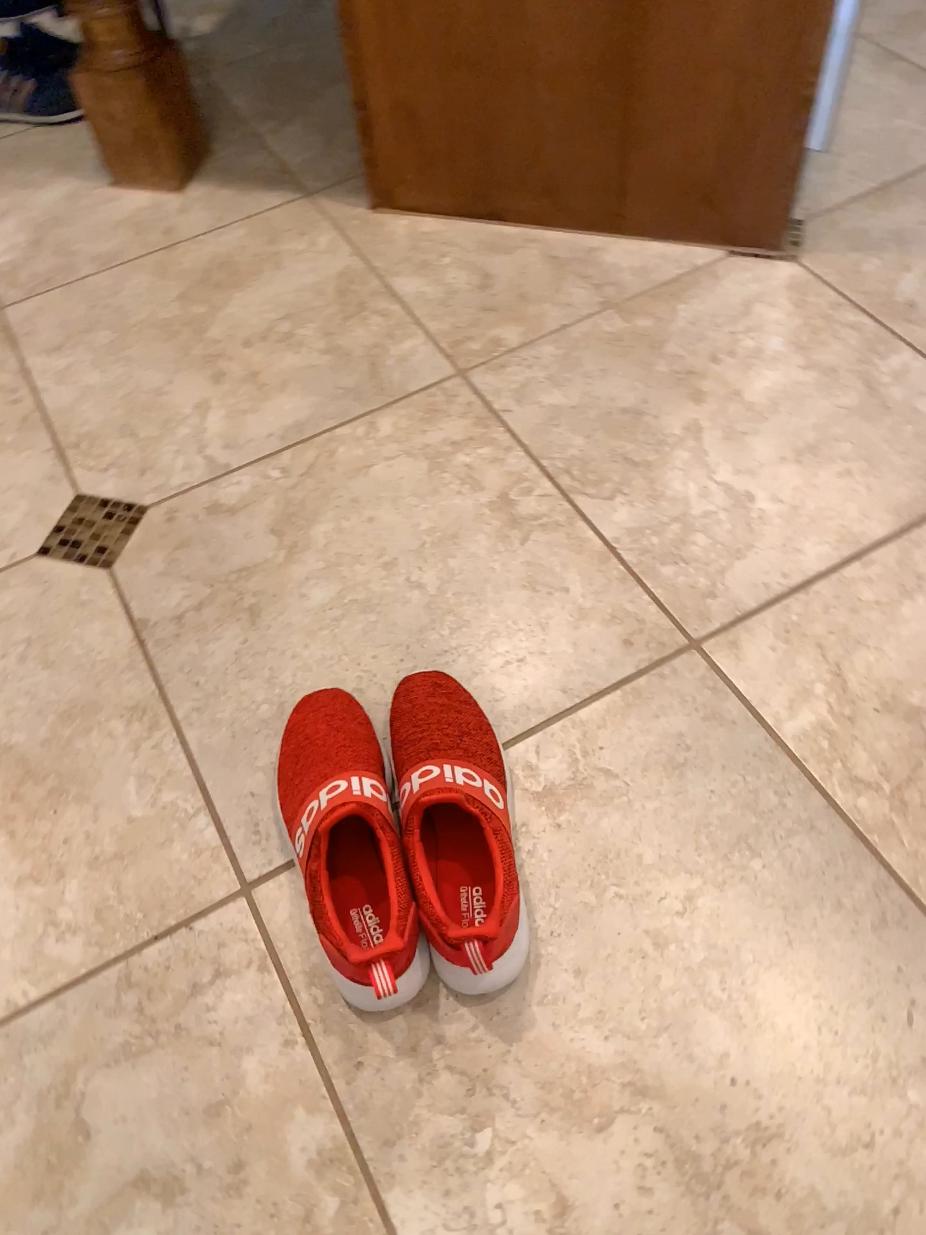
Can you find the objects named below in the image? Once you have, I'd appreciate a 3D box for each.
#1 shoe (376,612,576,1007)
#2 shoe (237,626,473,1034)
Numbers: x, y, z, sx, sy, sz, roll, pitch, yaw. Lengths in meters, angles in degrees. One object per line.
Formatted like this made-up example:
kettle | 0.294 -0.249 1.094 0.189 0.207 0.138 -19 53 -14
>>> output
shoe | 0.005 0.159 0.823 0.117 0.119 0.301 -9 54 -2
shoe | -0.097 0.174 0.815 0.117 0.119 0.301 -17 55 -7
